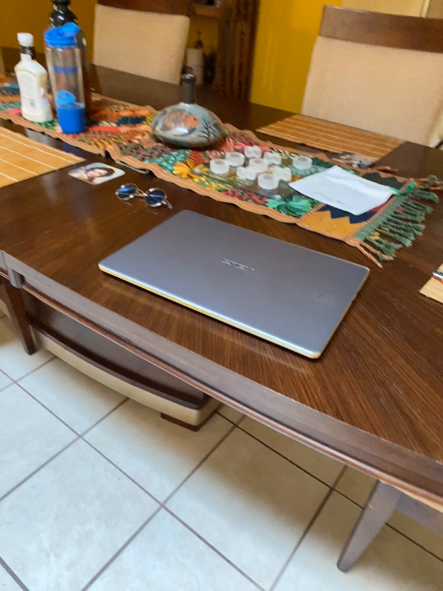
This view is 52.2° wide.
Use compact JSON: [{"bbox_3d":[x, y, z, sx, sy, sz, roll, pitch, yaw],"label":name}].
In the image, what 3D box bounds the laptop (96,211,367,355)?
[{"bbox_3d":[0.022,-0.046,0.763,0.383,0.001,0.247,21,40,21],"label":"laptop"}]
